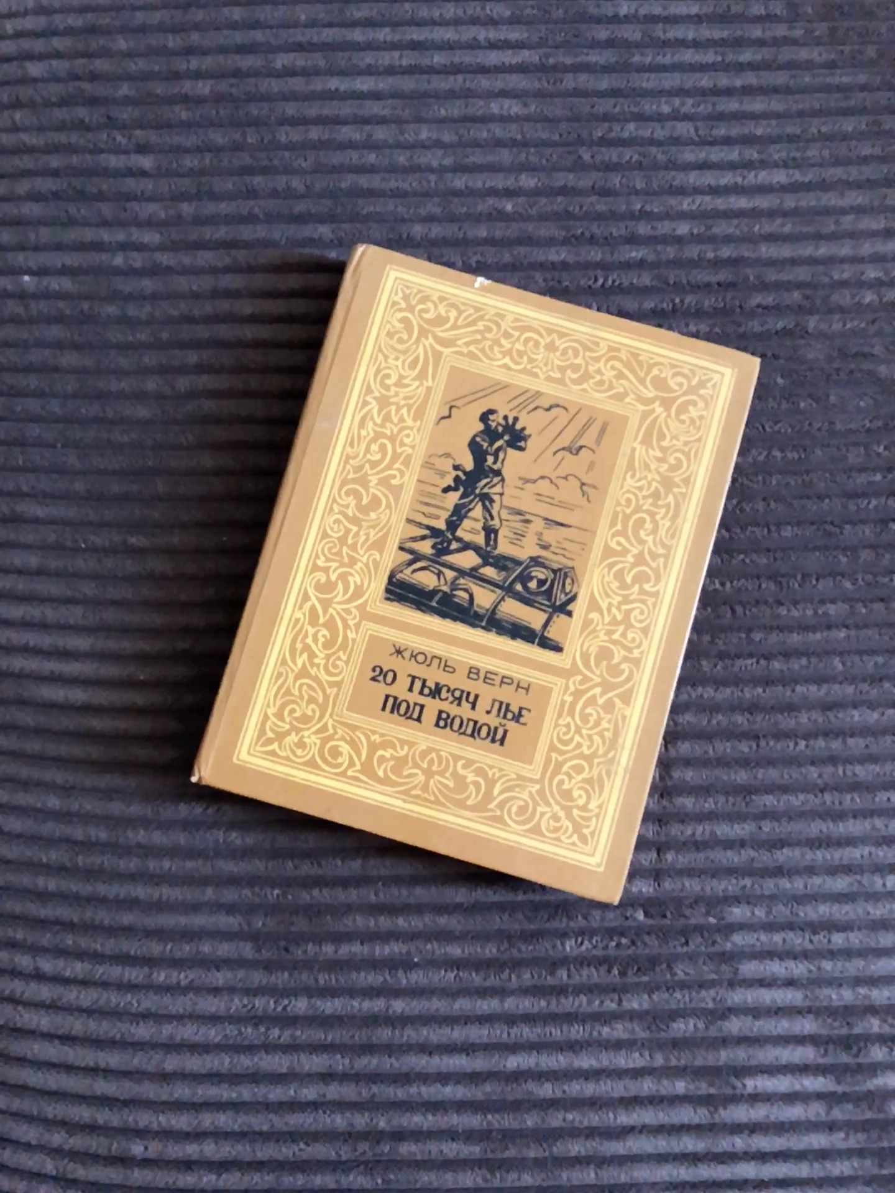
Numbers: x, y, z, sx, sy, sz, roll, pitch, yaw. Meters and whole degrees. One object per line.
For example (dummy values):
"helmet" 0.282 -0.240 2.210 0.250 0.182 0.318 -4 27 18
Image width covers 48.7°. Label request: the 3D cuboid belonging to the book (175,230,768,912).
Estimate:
"book" 0.012 -0.012 0.385 0.170 0.029 0.219 16 84 0
